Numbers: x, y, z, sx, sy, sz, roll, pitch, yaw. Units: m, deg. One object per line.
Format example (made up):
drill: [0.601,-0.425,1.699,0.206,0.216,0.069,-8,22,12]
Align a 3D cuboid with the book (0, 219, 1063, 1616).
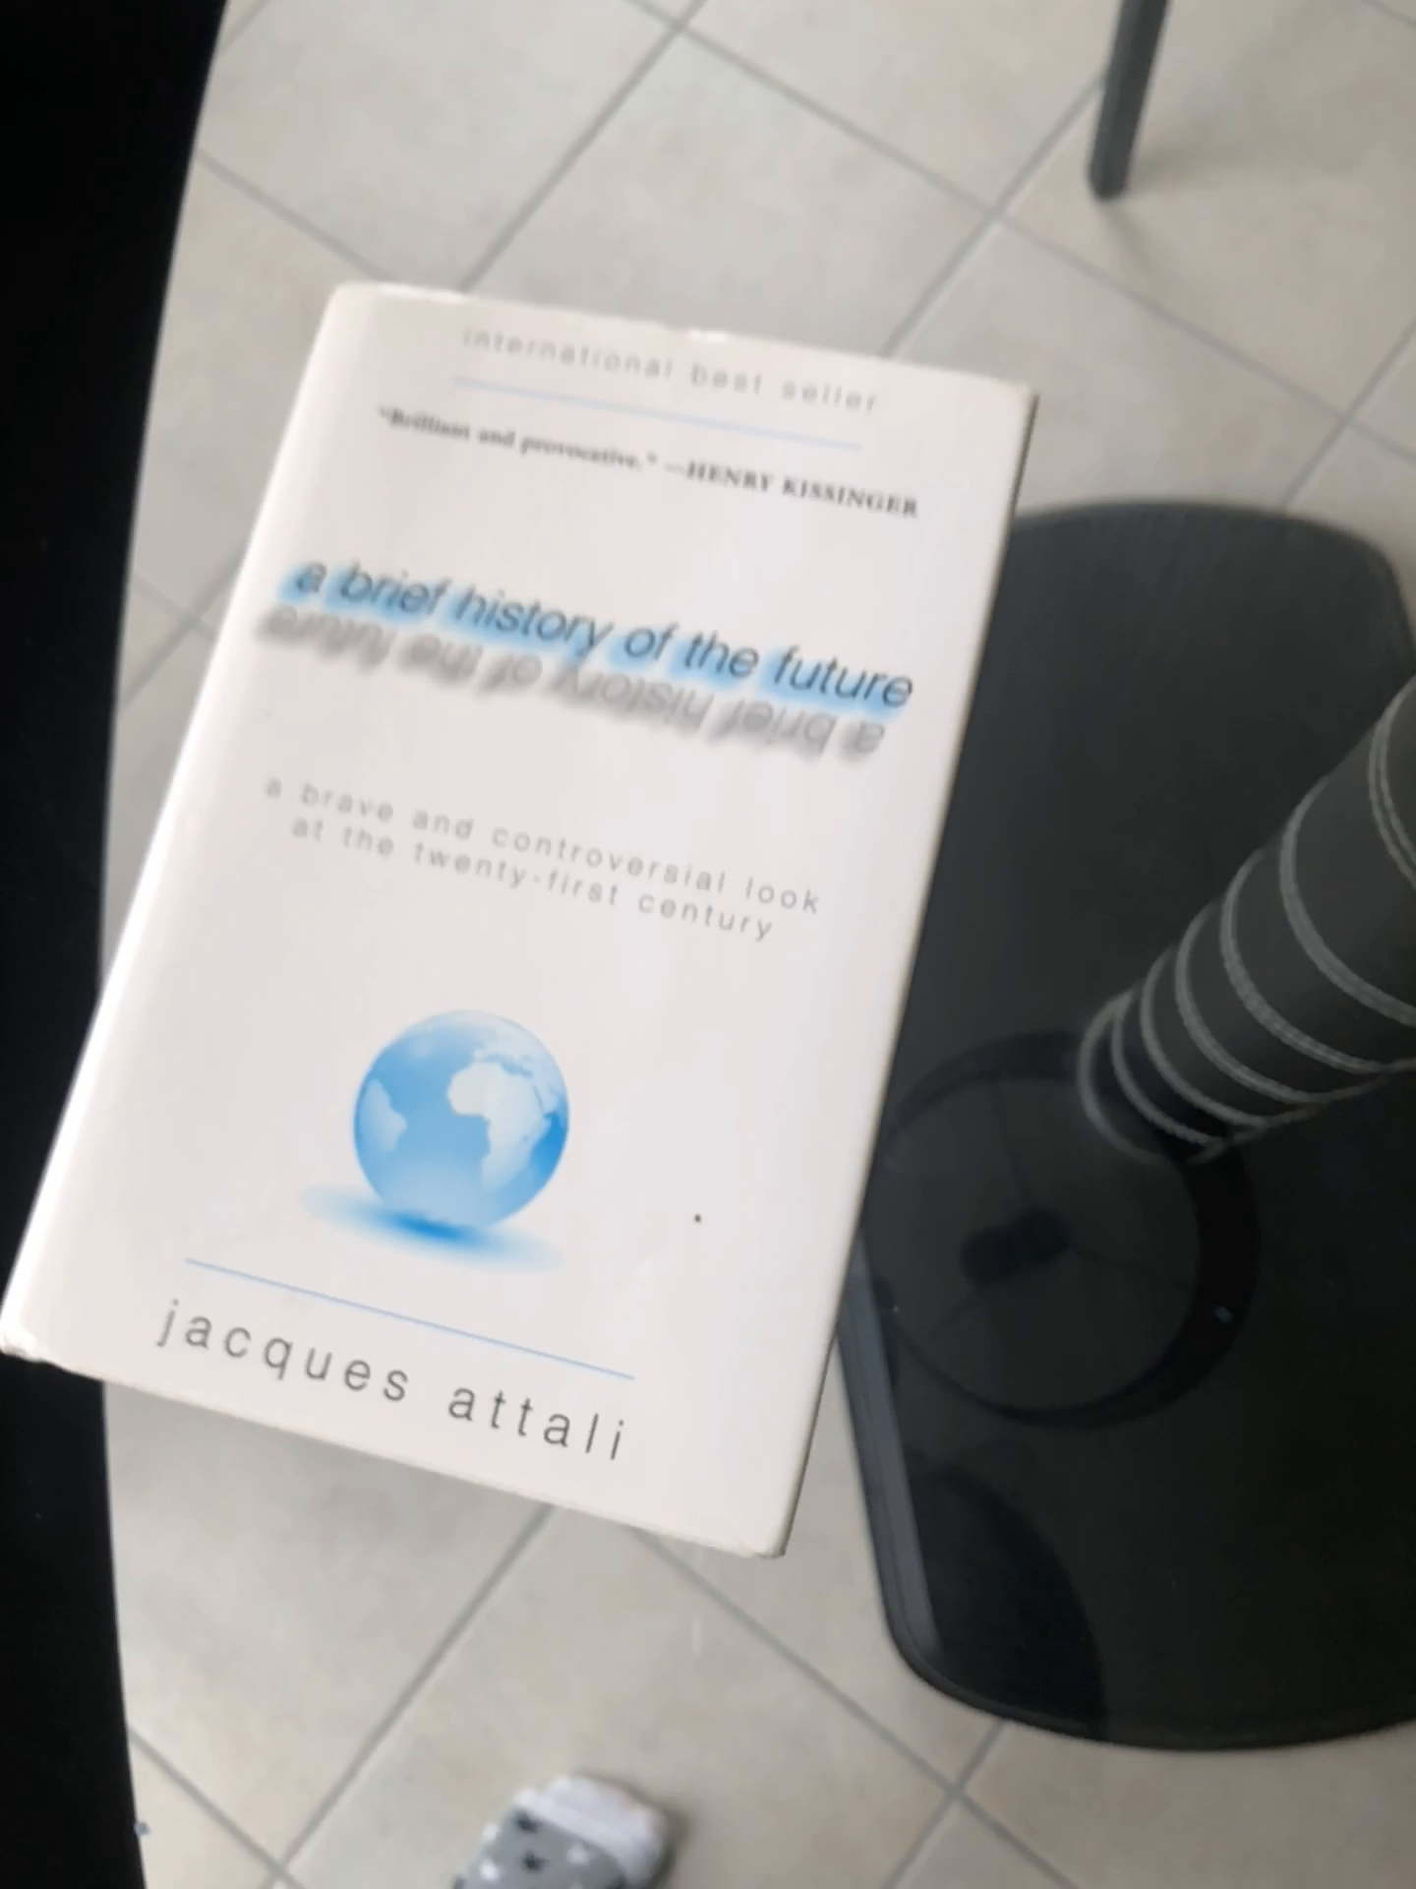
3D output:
book: [-0.036,-0.013,0.284,0.150,0.040,0.210,13,80,8]
